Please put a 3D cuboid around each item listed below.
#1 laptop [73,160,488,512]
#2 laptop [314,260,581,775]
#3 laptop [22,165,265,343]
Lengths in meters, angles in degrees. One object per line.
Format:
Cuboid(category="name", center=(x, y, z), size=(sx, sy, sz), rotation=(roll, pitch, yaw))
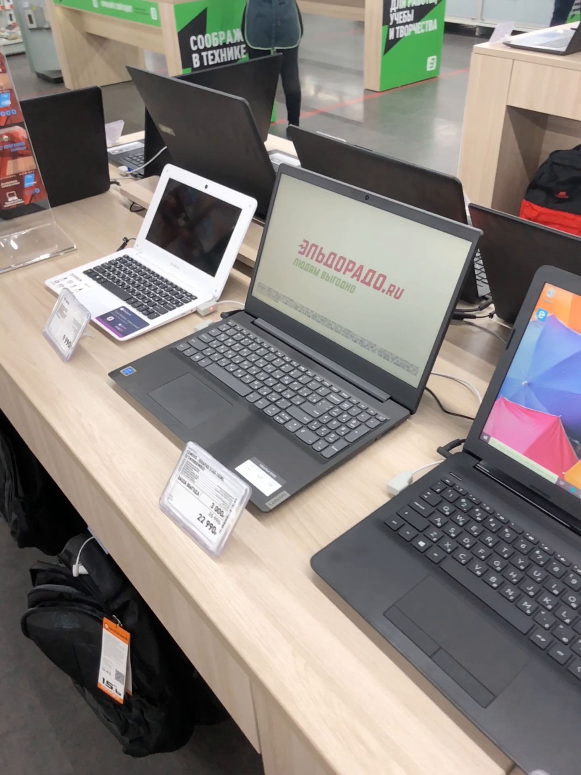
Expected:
Cuboid(category="laptop", center=(-0.015, -0.102, 0.818), size=(0.341, 0.212, 0.355), rotation=(-30, 45, -30))
Cuboid(category="laptop", center=(0.263, 0.102, 0.513), size=(0.322, 0.206, 0.375), rotation=(-28, 43, -29))
Cuboid(category="laptop", center=(-0.249, -0.247, 1.100), size=(0.290, 0.139, 0.280), rotation=(-30, 44, -30))
